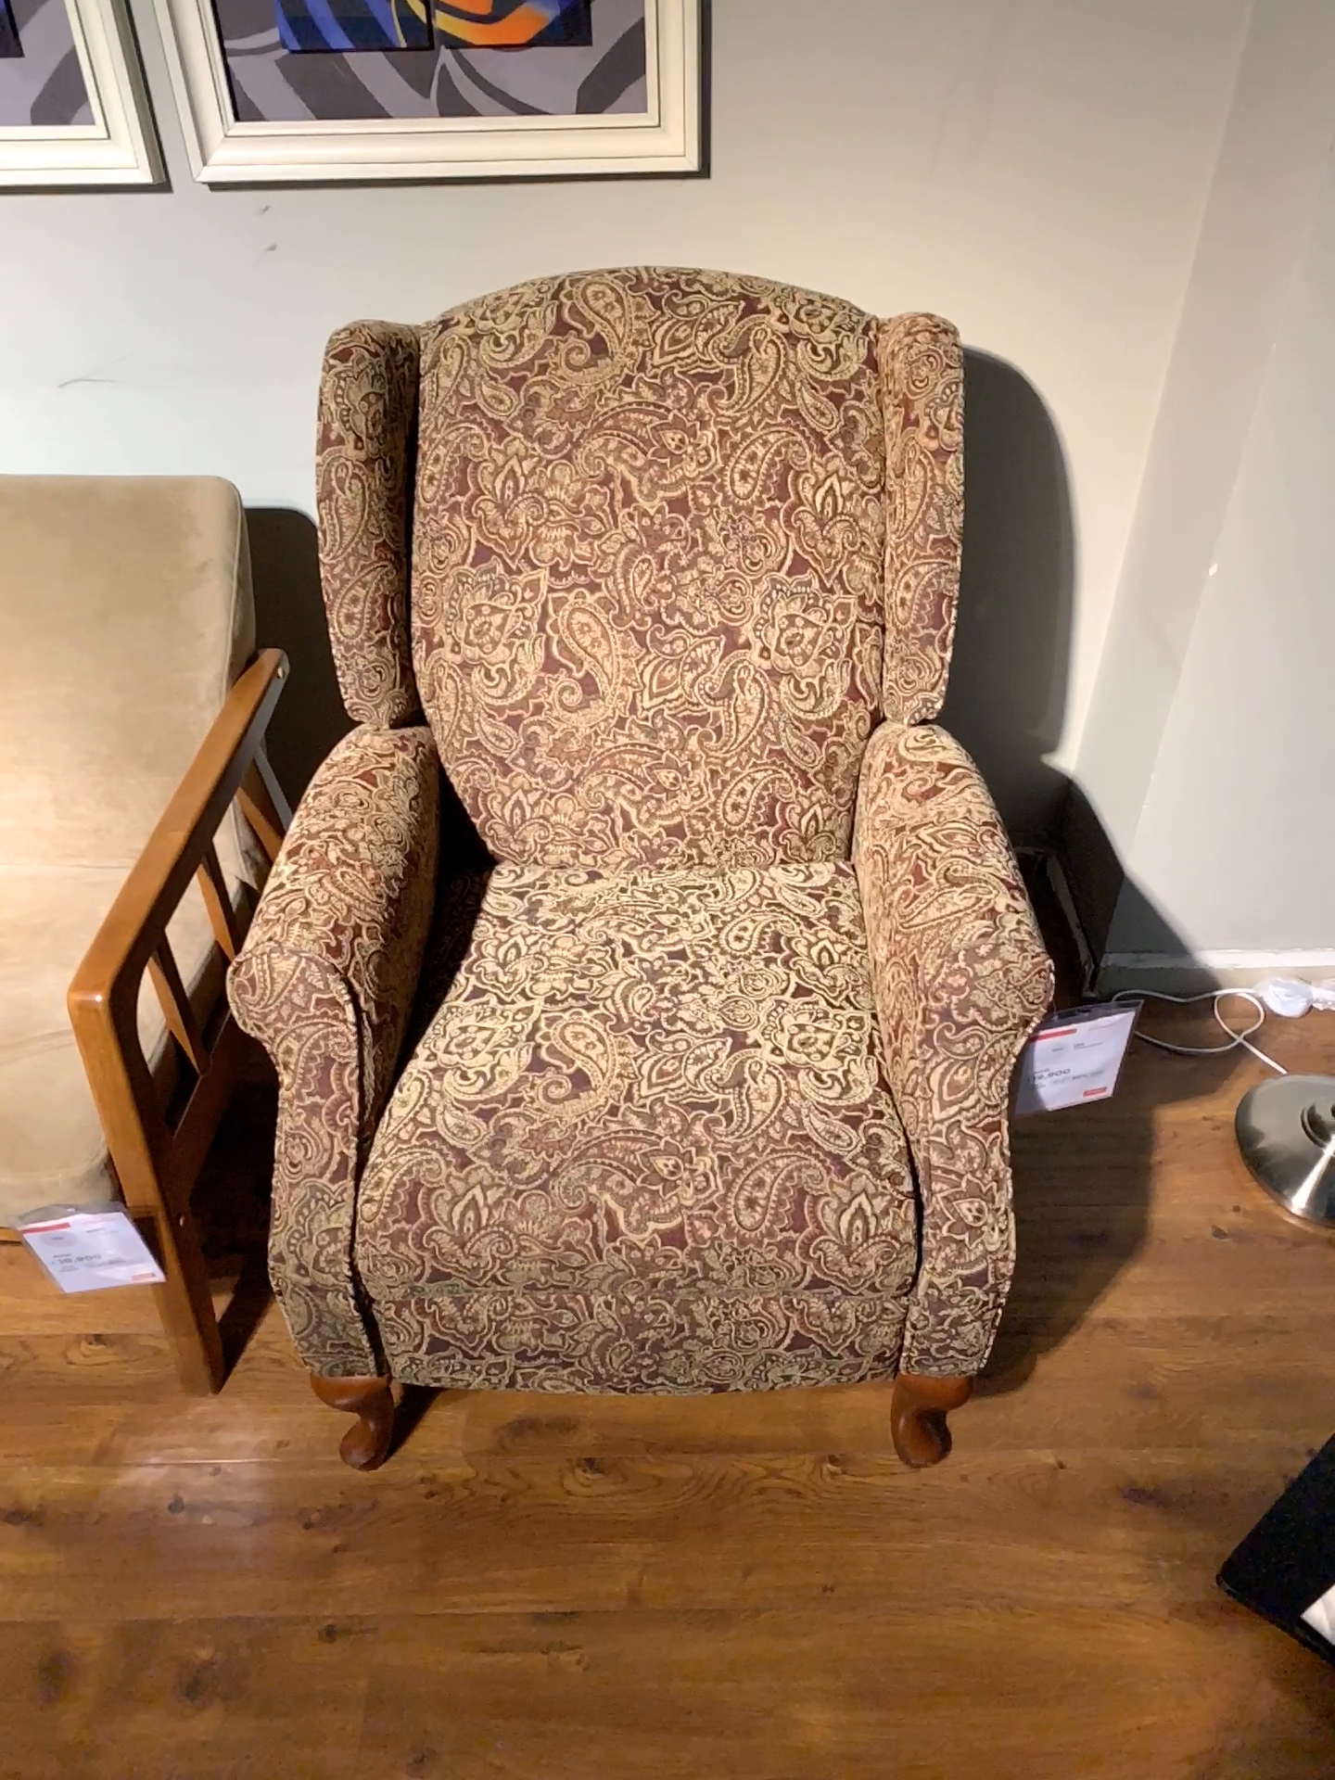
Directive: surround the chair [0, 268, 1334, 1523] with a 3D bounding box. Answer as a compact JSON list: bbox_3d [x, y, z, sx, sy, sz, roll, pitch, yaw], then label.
[{"bbox_3d":[0.014,0.013,1.329,0.750,0.956,0.763,1,41,1],"label":"chair"}]
